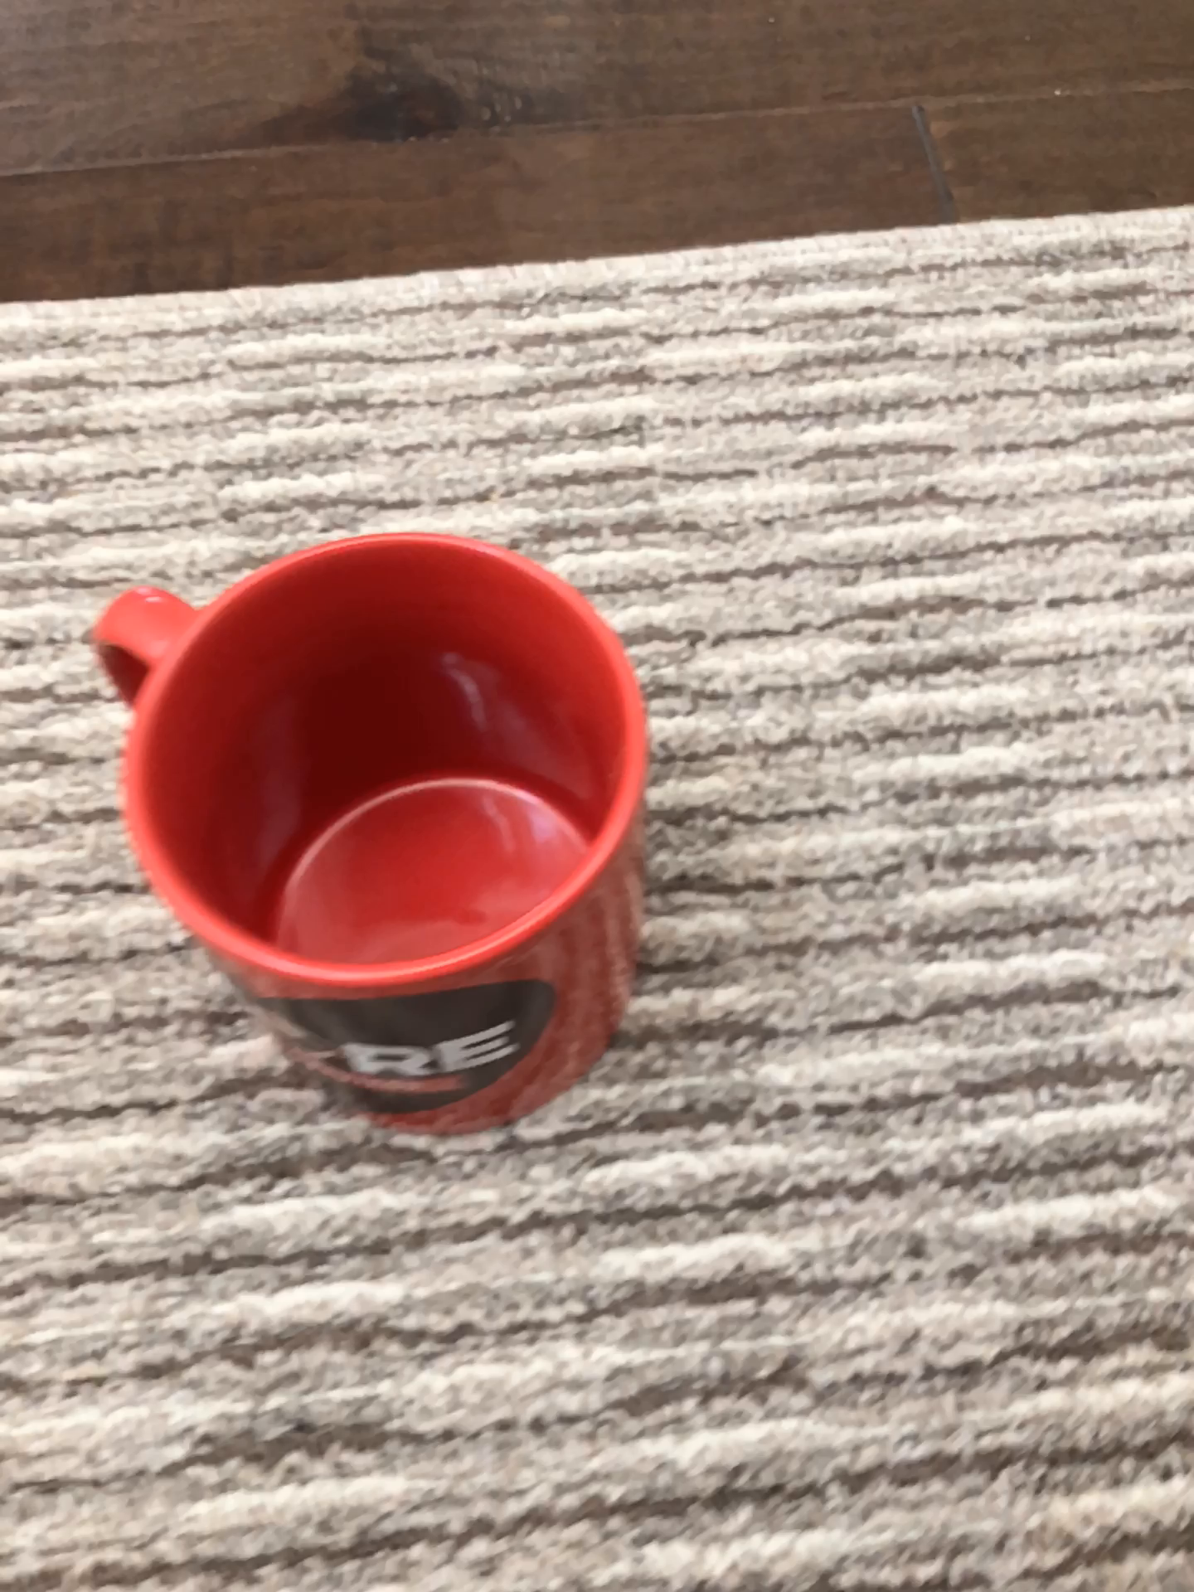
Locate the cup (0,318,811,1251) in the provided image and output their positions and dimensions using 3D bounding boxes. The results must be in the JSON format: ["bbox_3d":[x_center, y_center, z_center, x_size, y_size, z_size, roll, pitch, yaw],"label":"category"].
[{"bbox_3d":[-0.052,0.001,0.307,0.150,0.119,0.111,33,67,17],"label":"cup"}]
